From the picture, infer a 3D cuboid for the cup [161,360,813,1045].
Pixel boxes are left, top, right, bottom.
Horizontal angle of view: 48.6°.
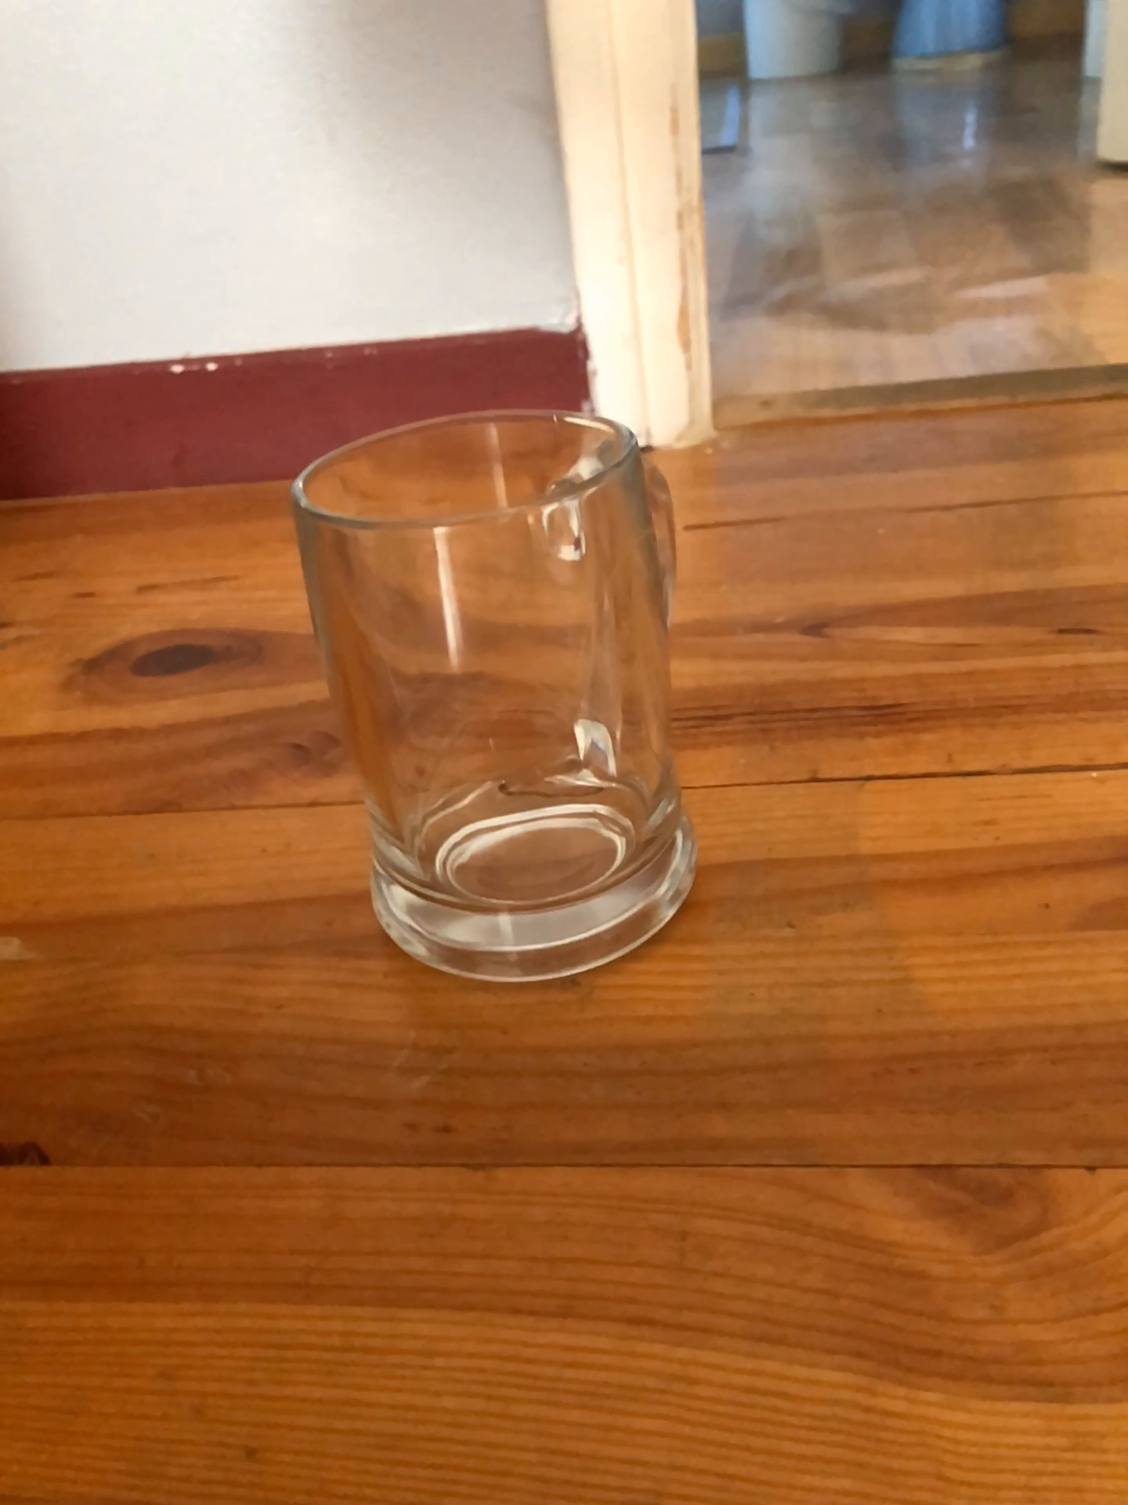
[{"bbox_3d":[-0.007,-0.024,0.313,0.091,0.110,0.129,15,37,32],"label":"cup"}]
